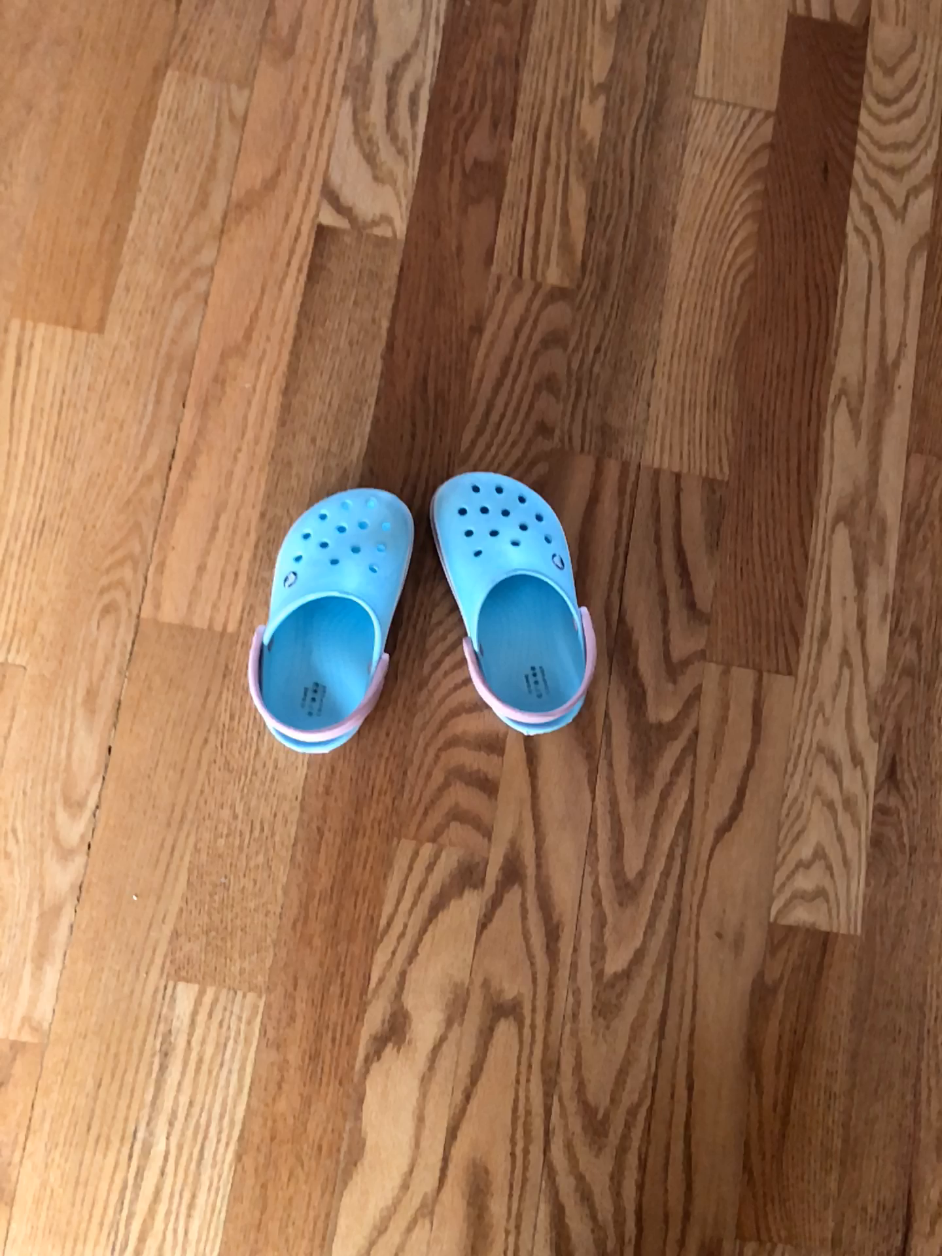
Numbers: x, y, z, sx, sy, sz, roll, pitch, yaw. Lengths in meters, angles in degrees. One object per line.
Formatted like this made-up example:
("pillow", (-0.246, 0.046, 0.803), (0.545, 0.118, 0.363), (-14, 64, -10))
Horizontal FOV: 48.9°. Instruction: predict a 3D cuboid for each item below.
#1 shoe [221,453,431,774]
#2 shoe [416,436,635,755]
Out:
("shoe", (-0.080, -0.006, 0.596), (0.083, 0.057, 0.165), (11, 80, -3))
("shoe", (0.029, -0.018, 0.603), (0.083, 0.048, 0.165), (-14, 82, -7))
